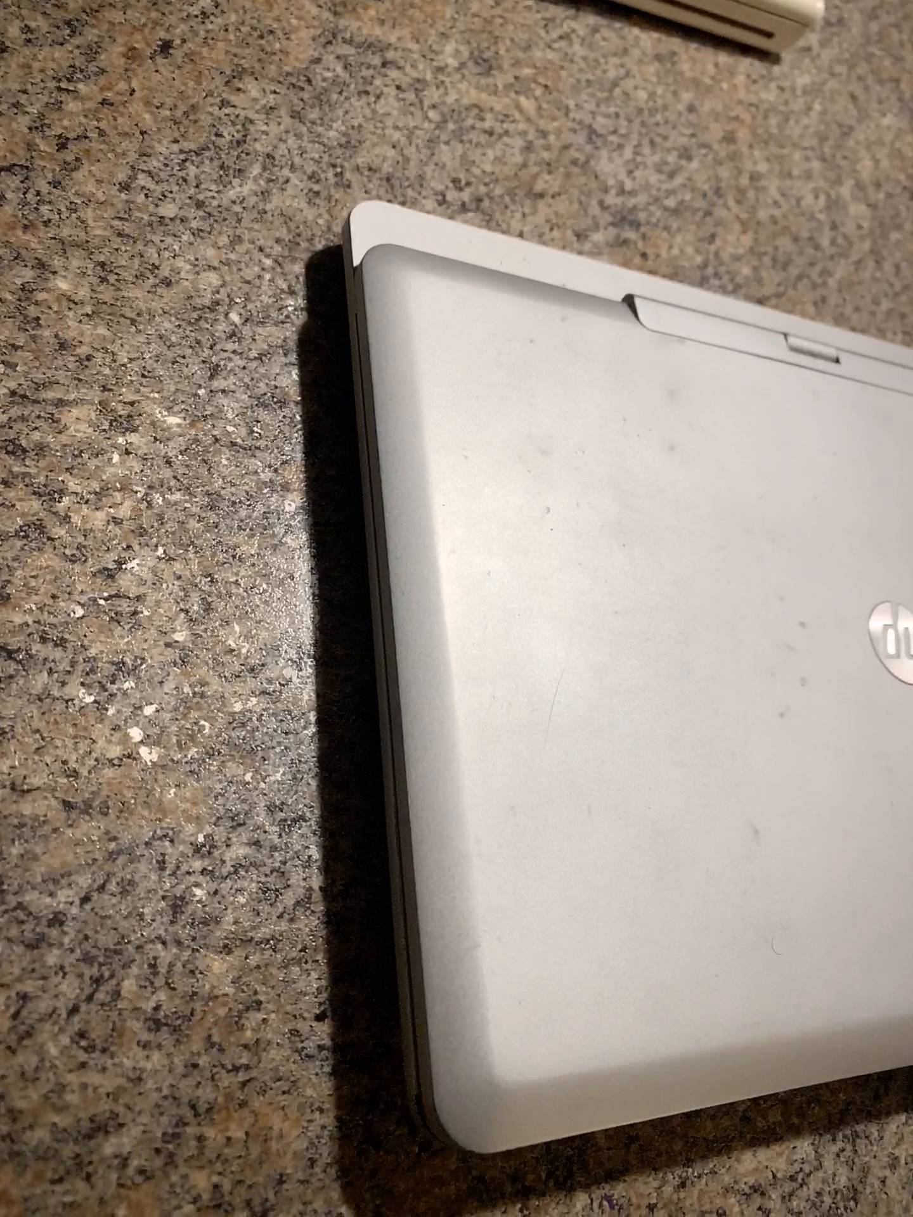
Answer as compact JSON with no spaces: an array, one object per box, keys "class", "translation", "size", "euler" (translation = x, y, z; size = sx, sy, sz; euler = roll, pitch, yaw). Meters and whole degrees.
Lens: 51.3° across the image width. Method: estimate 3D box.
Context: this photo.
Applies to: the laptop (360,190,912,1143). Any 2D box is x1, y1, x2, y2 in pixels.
[{"class":"laptop","translation":[0.110,0.002,0.242],"size":[0.268,0.005,0.194],"euler":[5,64,-26]}]
